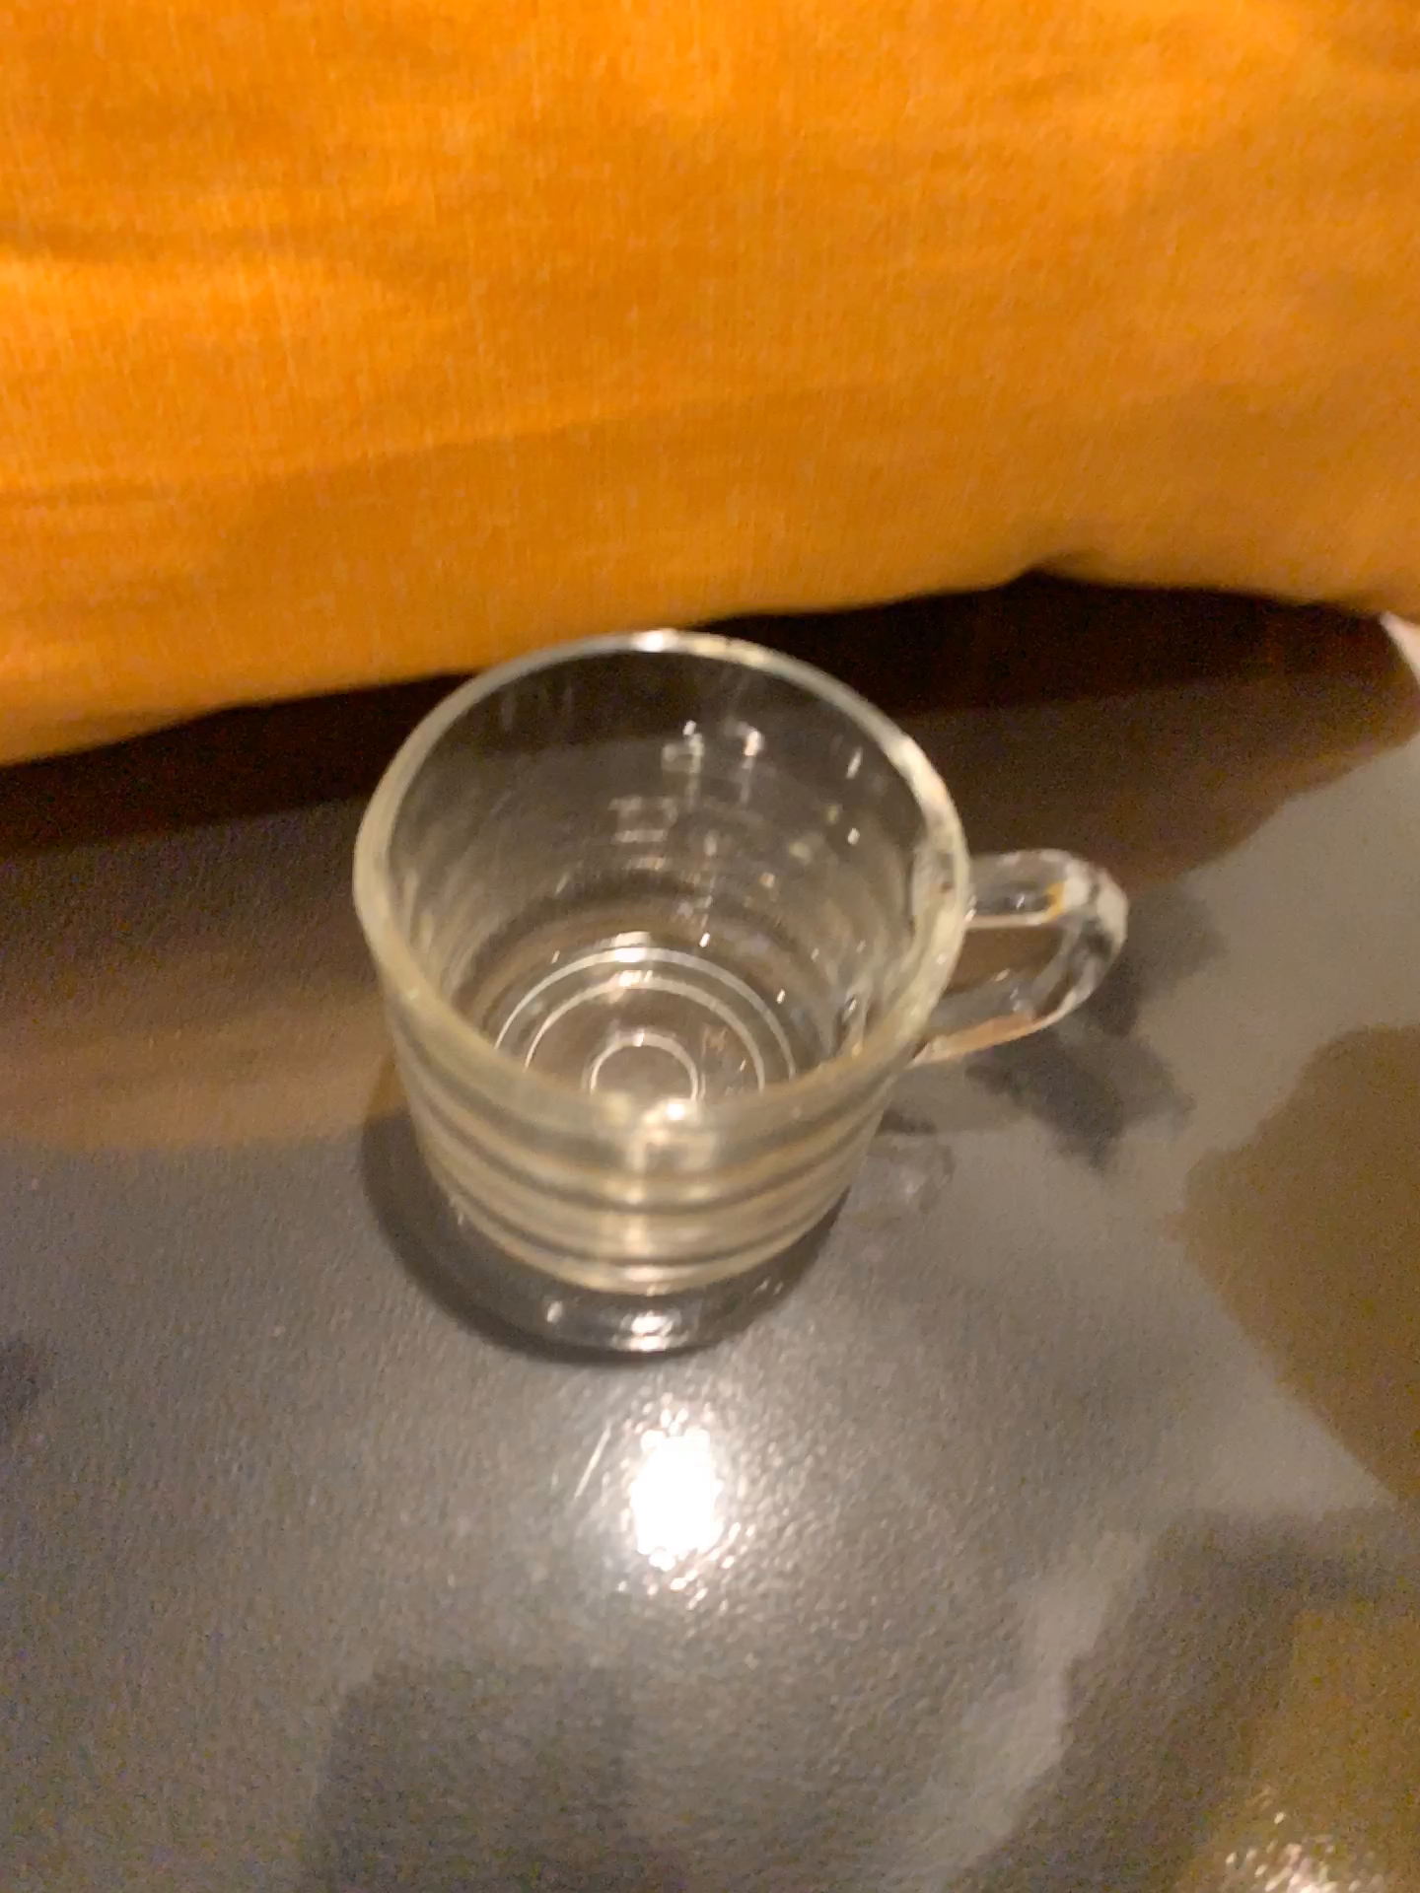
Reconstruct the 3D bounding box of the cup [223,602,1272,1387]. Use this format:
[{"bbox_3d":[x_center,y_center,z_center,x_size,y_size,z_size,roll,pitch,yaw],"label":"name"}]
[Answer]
[{"bbox_3d":[-0.001,0.006,0.182,0.100,0.059,0.071,-3,58,-9],"label":"cup"}]
